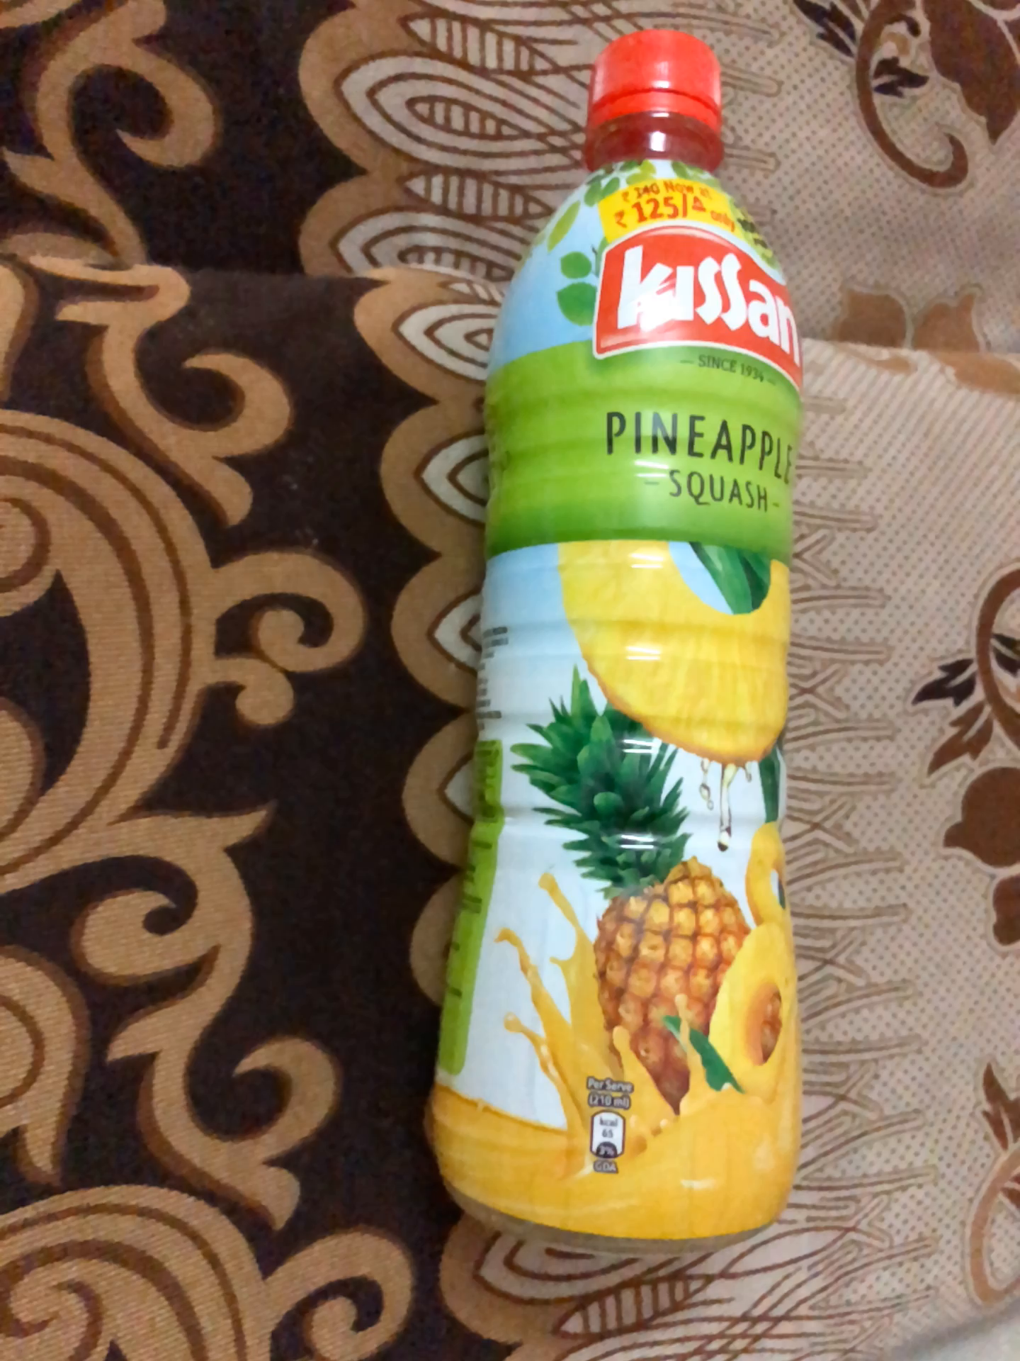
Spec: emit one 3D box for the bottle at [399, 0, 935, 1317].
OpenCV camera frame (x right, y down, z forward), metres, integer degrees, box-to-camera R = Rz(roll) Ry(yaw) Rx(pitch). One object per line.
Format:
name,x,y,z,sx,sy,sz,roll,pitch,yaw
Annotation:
bottle,0.032,-0.018,0.227,0.070,0.060,0.240,7,84,-29
